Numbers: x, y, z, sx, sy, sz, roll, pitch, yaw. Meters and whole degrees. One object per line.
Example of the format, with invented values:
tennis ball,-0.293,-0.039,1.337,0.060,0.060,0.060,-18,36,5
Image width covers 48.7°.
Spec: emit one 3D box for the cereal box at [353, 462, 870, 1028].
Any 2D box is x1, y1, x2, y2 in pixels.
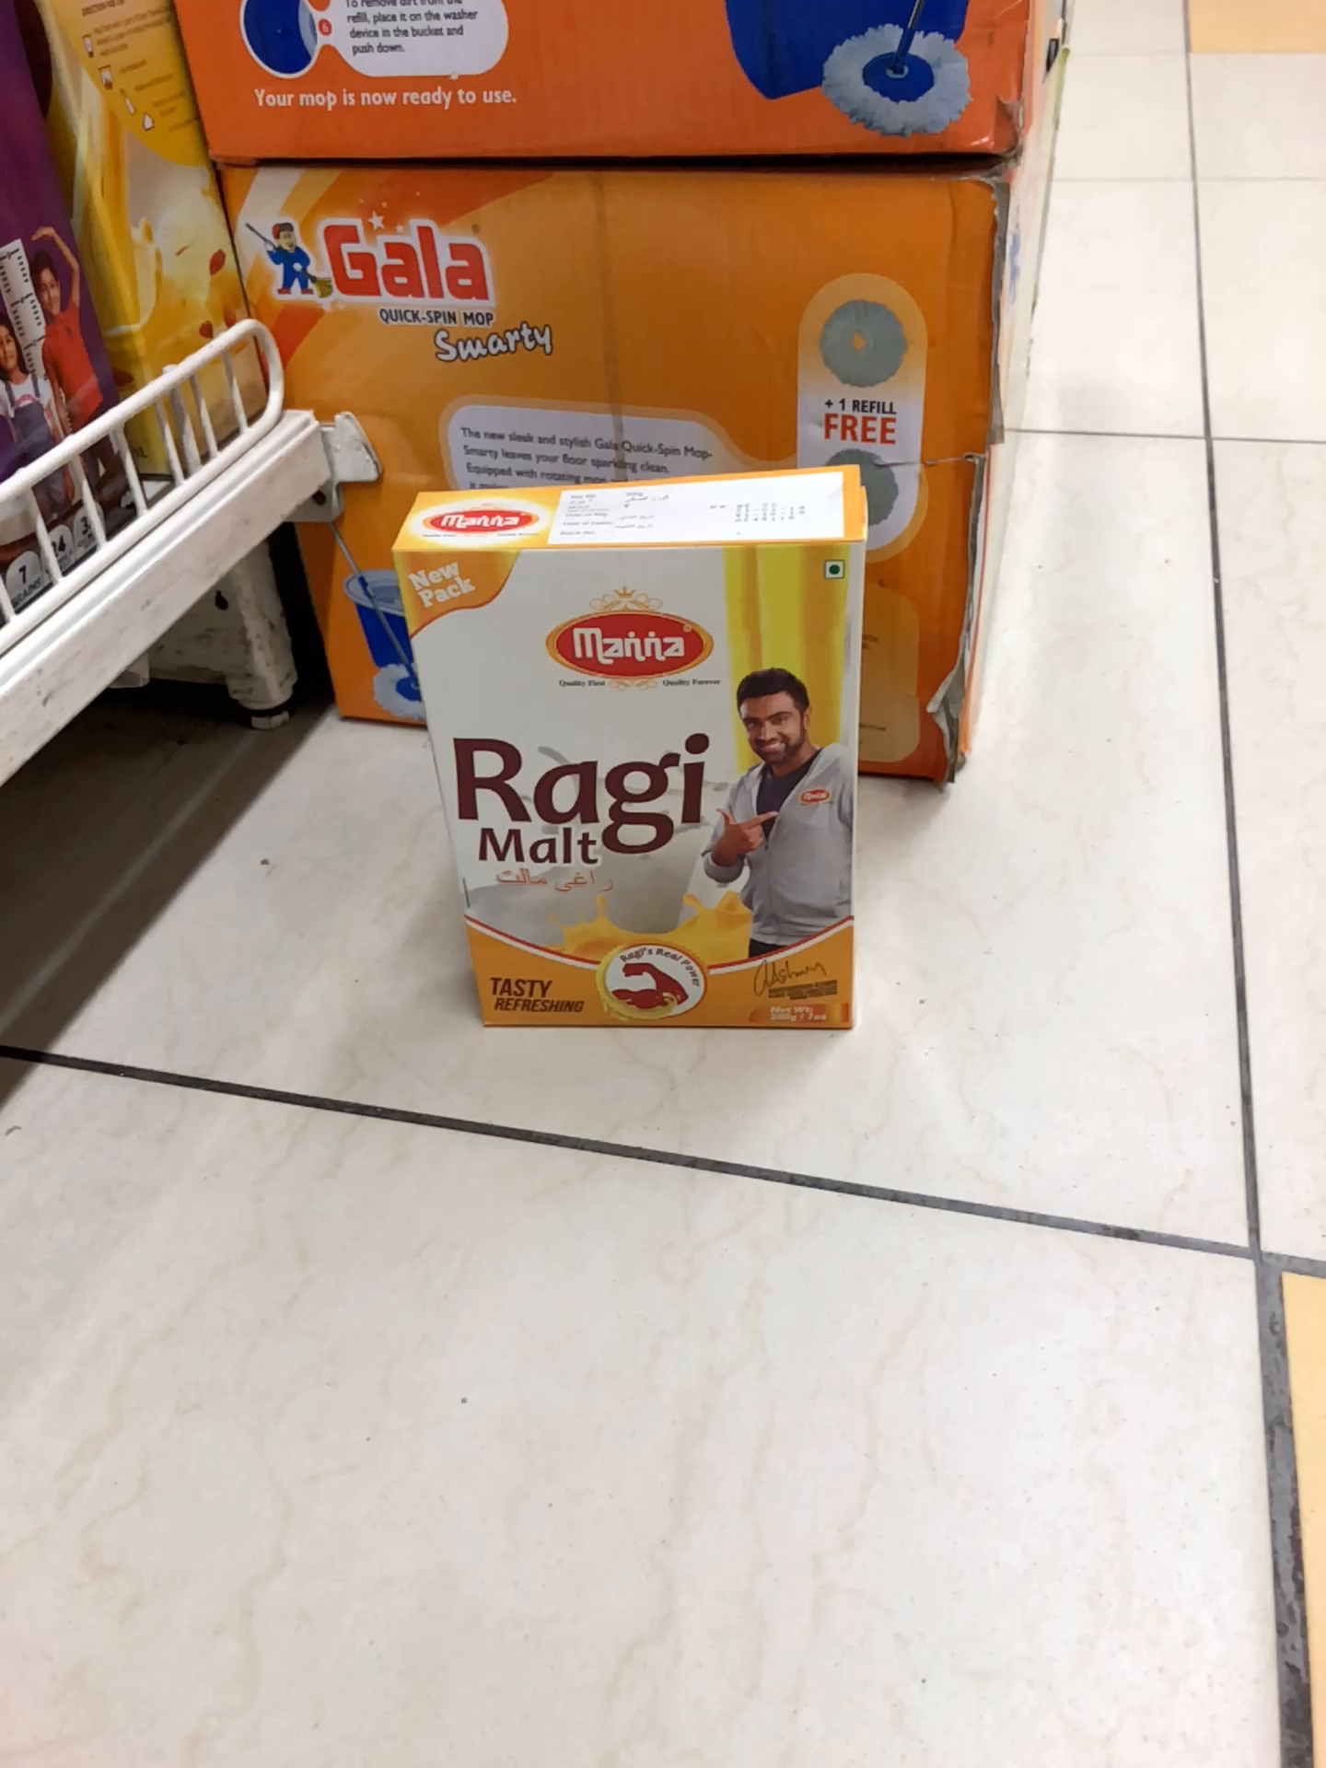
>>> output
cereal box,-0.007,-0.037,0.468,0.140,0.179,0.050,0,38,6
